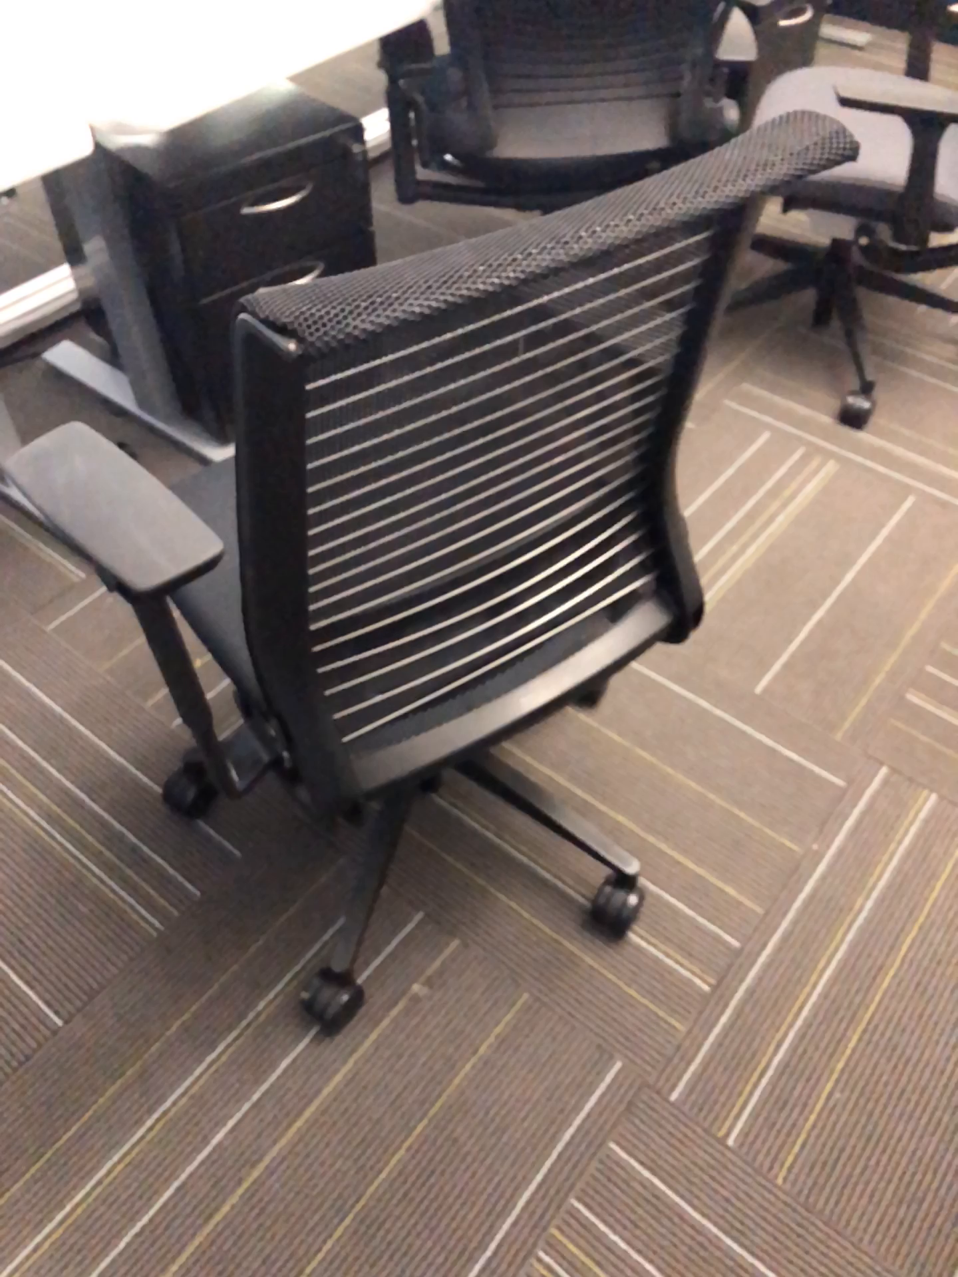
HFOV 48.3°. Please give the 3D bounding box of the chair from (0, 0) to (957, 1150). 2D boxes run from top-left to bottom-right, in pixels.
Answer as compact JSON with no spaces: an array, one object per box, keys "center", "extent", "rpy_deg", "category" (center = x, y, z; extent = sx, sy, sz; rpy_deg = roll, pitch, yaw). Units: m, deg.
[{"center":[-0.050,-0.139,1.129],"extent":[0.751,0.996,0.662],"rpy_deg":[-30,54,-24],"category":"chair"}]
